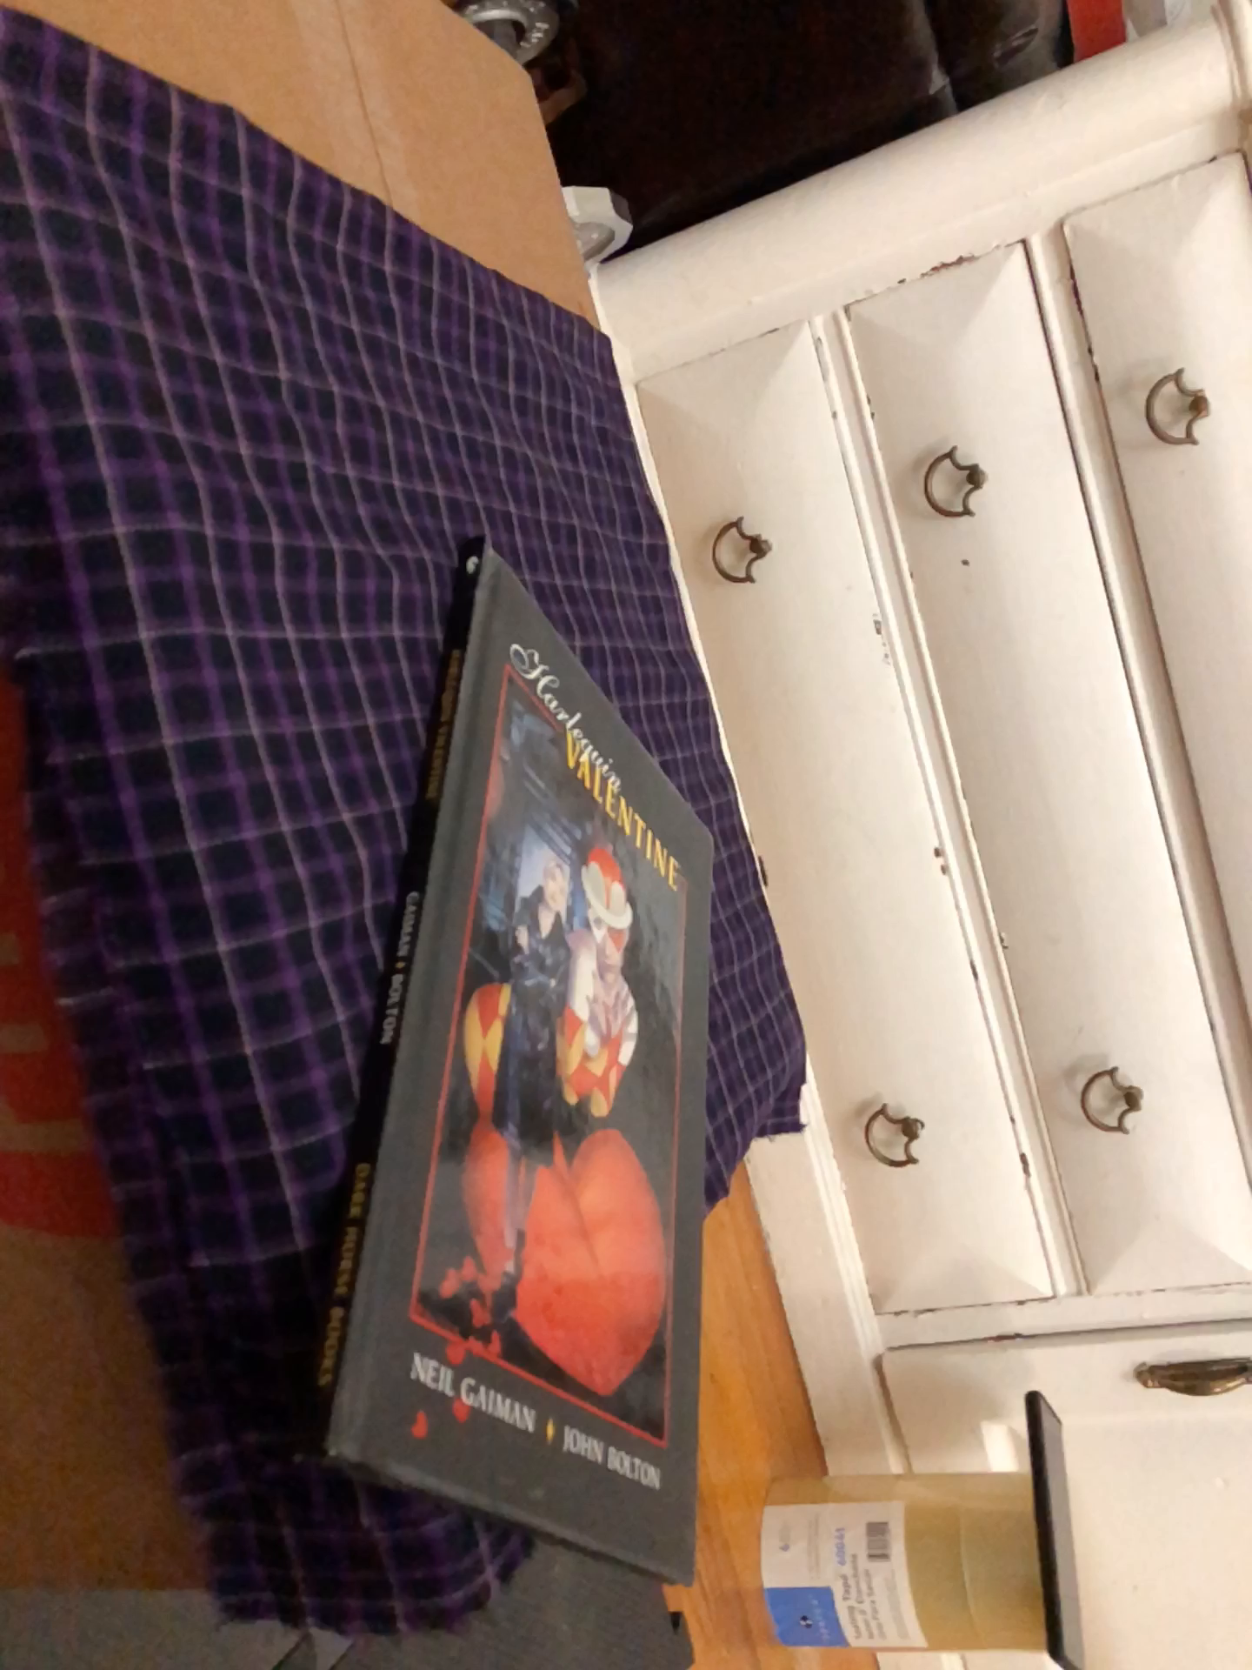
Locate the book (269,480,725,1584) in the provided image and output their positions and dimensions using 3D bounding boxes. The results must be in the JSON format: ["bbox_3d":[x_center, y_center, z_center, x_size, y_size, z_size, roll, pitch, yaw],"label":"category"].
[{"bbox_3d":[-0.015,0.055,0.413,0.180,0.020,0.281,50,34,-47],"label":"book"}]
